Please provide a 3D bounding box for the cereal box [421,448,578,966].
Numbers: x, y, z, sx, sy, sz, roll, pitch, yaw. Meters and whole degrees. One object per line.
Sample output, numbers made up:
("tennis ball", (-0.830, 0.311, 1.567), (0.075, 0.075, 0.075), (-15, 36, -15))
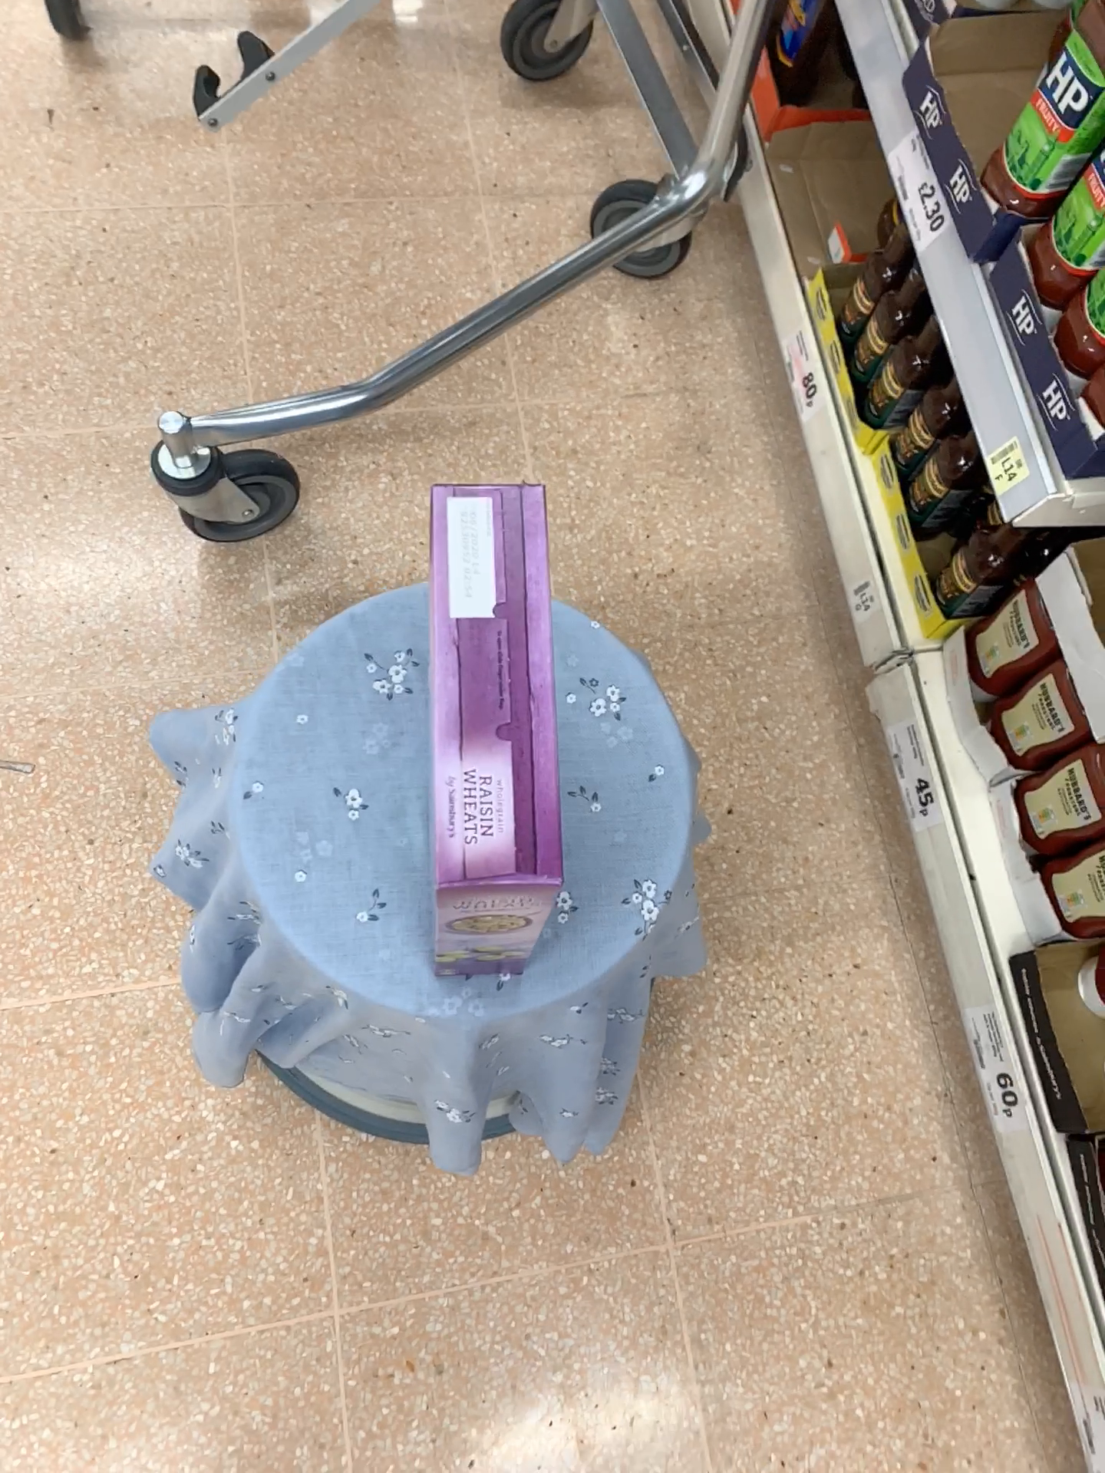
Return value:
("cereal box", (-0.037, 0.002, 0.593), (0.060, 0.239, 0.201), (-1, 71, -7))
